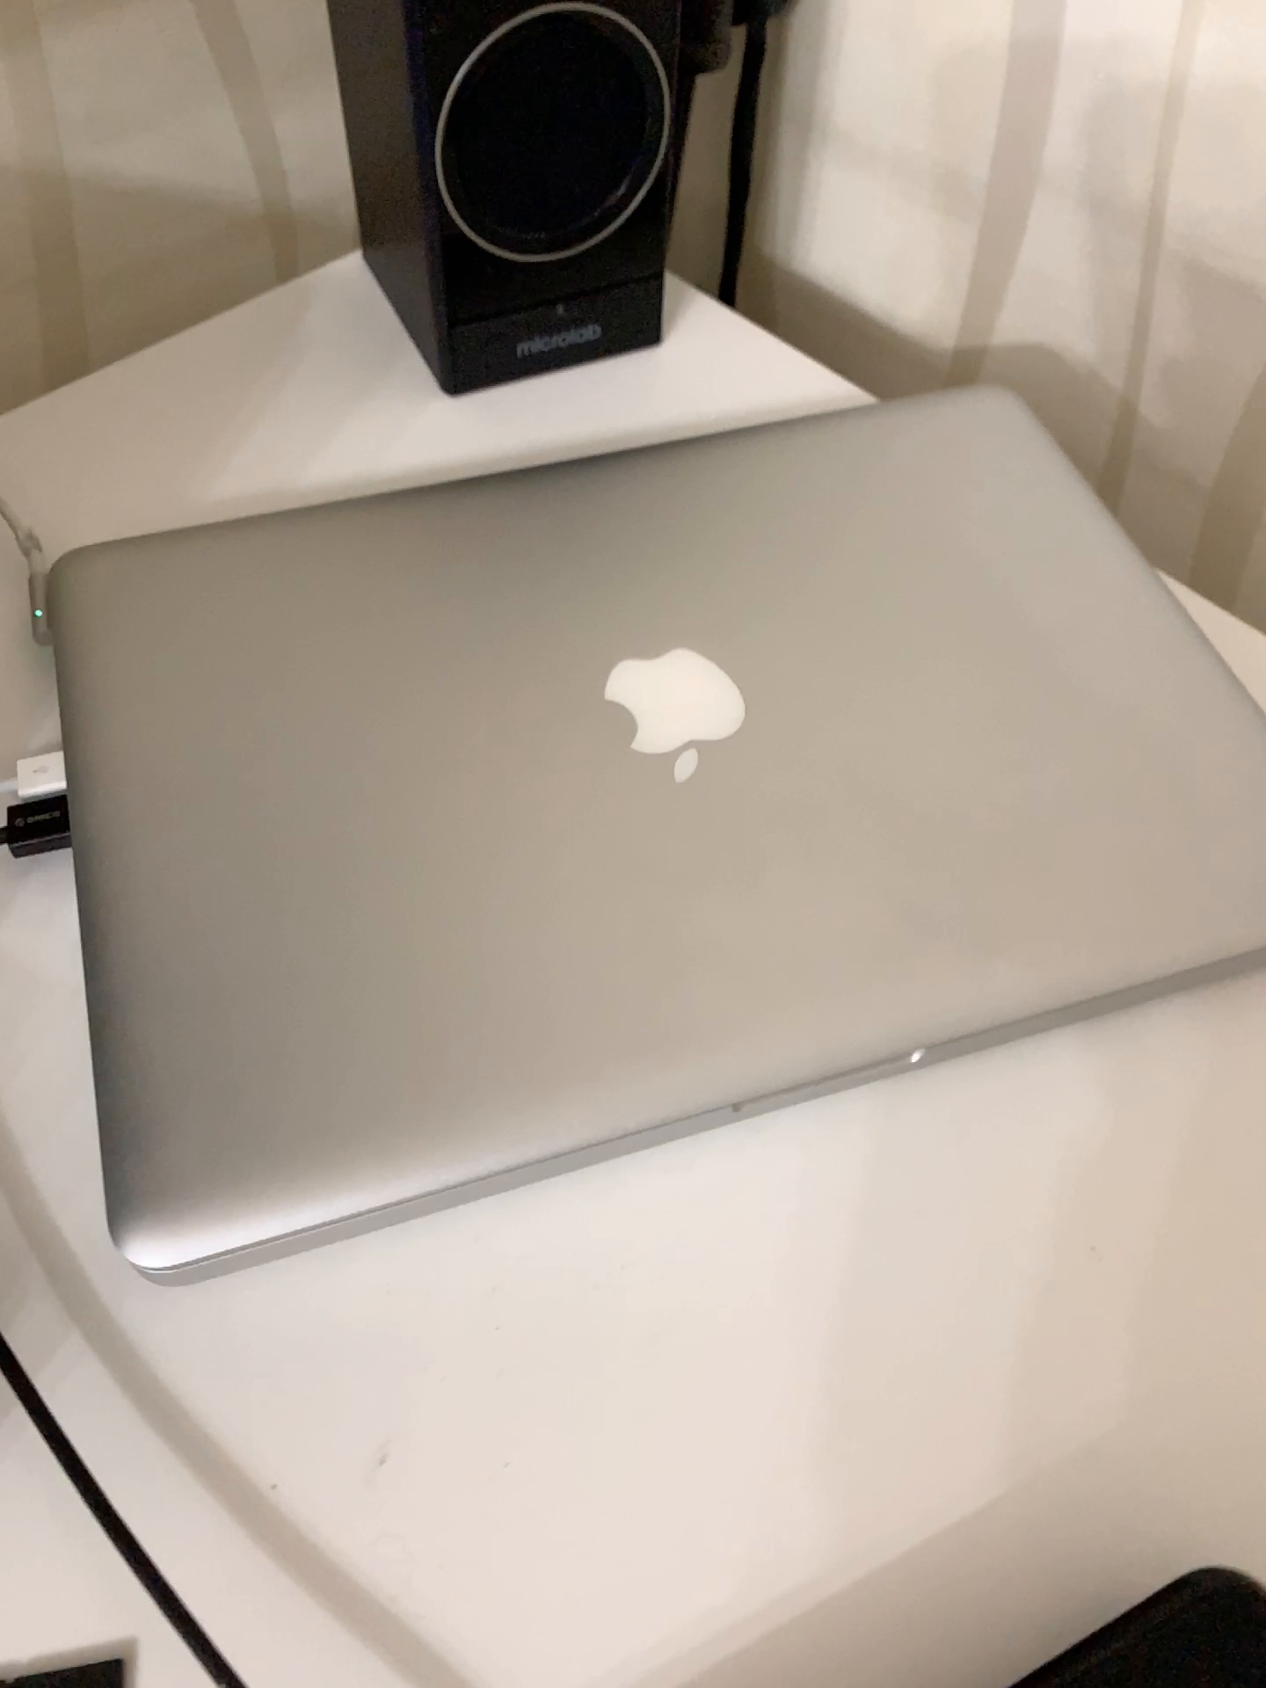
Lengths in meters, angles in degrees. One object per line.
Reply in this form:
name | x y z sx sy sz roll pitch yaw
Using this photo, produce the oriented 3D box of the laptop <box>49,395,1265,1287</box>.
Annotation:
laptop | 0.009 -0.032 0.363 0.305 0.007 0.219 -14 57 -14
